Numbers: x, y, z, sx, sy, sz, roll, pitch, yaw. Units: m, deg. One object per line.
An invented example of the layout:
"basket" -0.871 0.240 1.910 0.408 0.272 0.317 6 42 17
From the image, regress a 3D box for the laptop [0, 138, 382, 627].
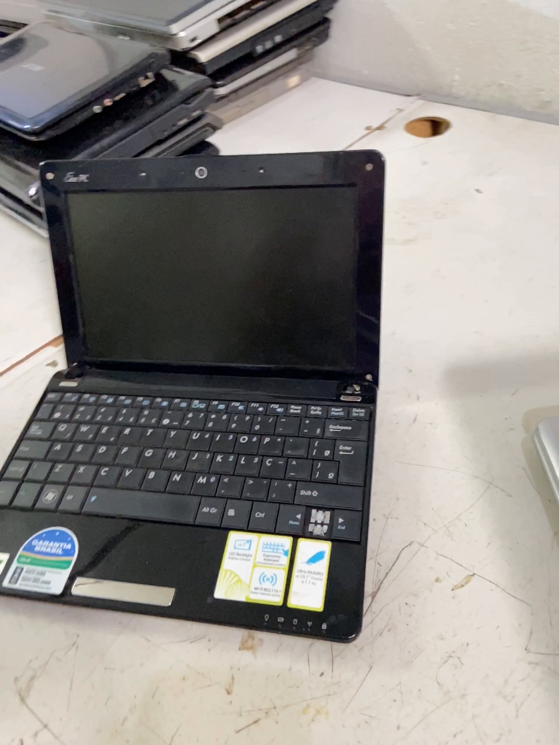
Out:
"laptop" -0.071 -0.017 0.376 0.258 0.131 0.266 3 50 13
